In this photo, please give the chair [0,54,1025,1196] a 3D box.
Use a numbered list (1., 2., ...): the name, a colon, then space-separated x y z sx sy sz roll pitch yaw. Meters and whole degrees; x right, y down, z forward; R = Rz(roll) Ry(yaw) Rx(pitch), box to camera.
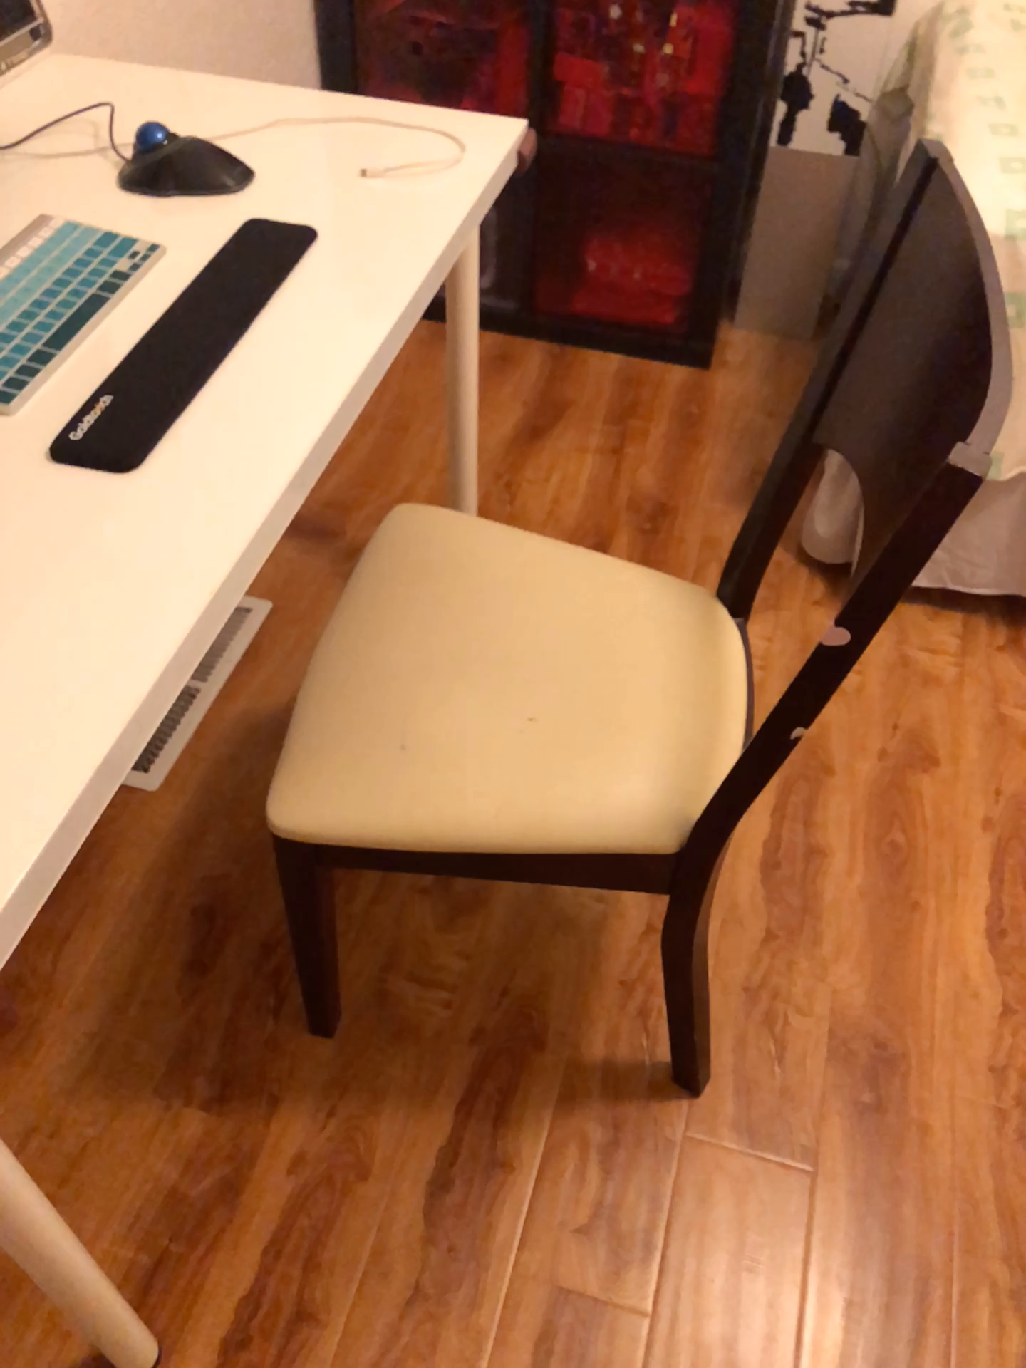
1. chair: 0.047 -0.020 1.129 0.660 0.885 0.573 10 47 8
